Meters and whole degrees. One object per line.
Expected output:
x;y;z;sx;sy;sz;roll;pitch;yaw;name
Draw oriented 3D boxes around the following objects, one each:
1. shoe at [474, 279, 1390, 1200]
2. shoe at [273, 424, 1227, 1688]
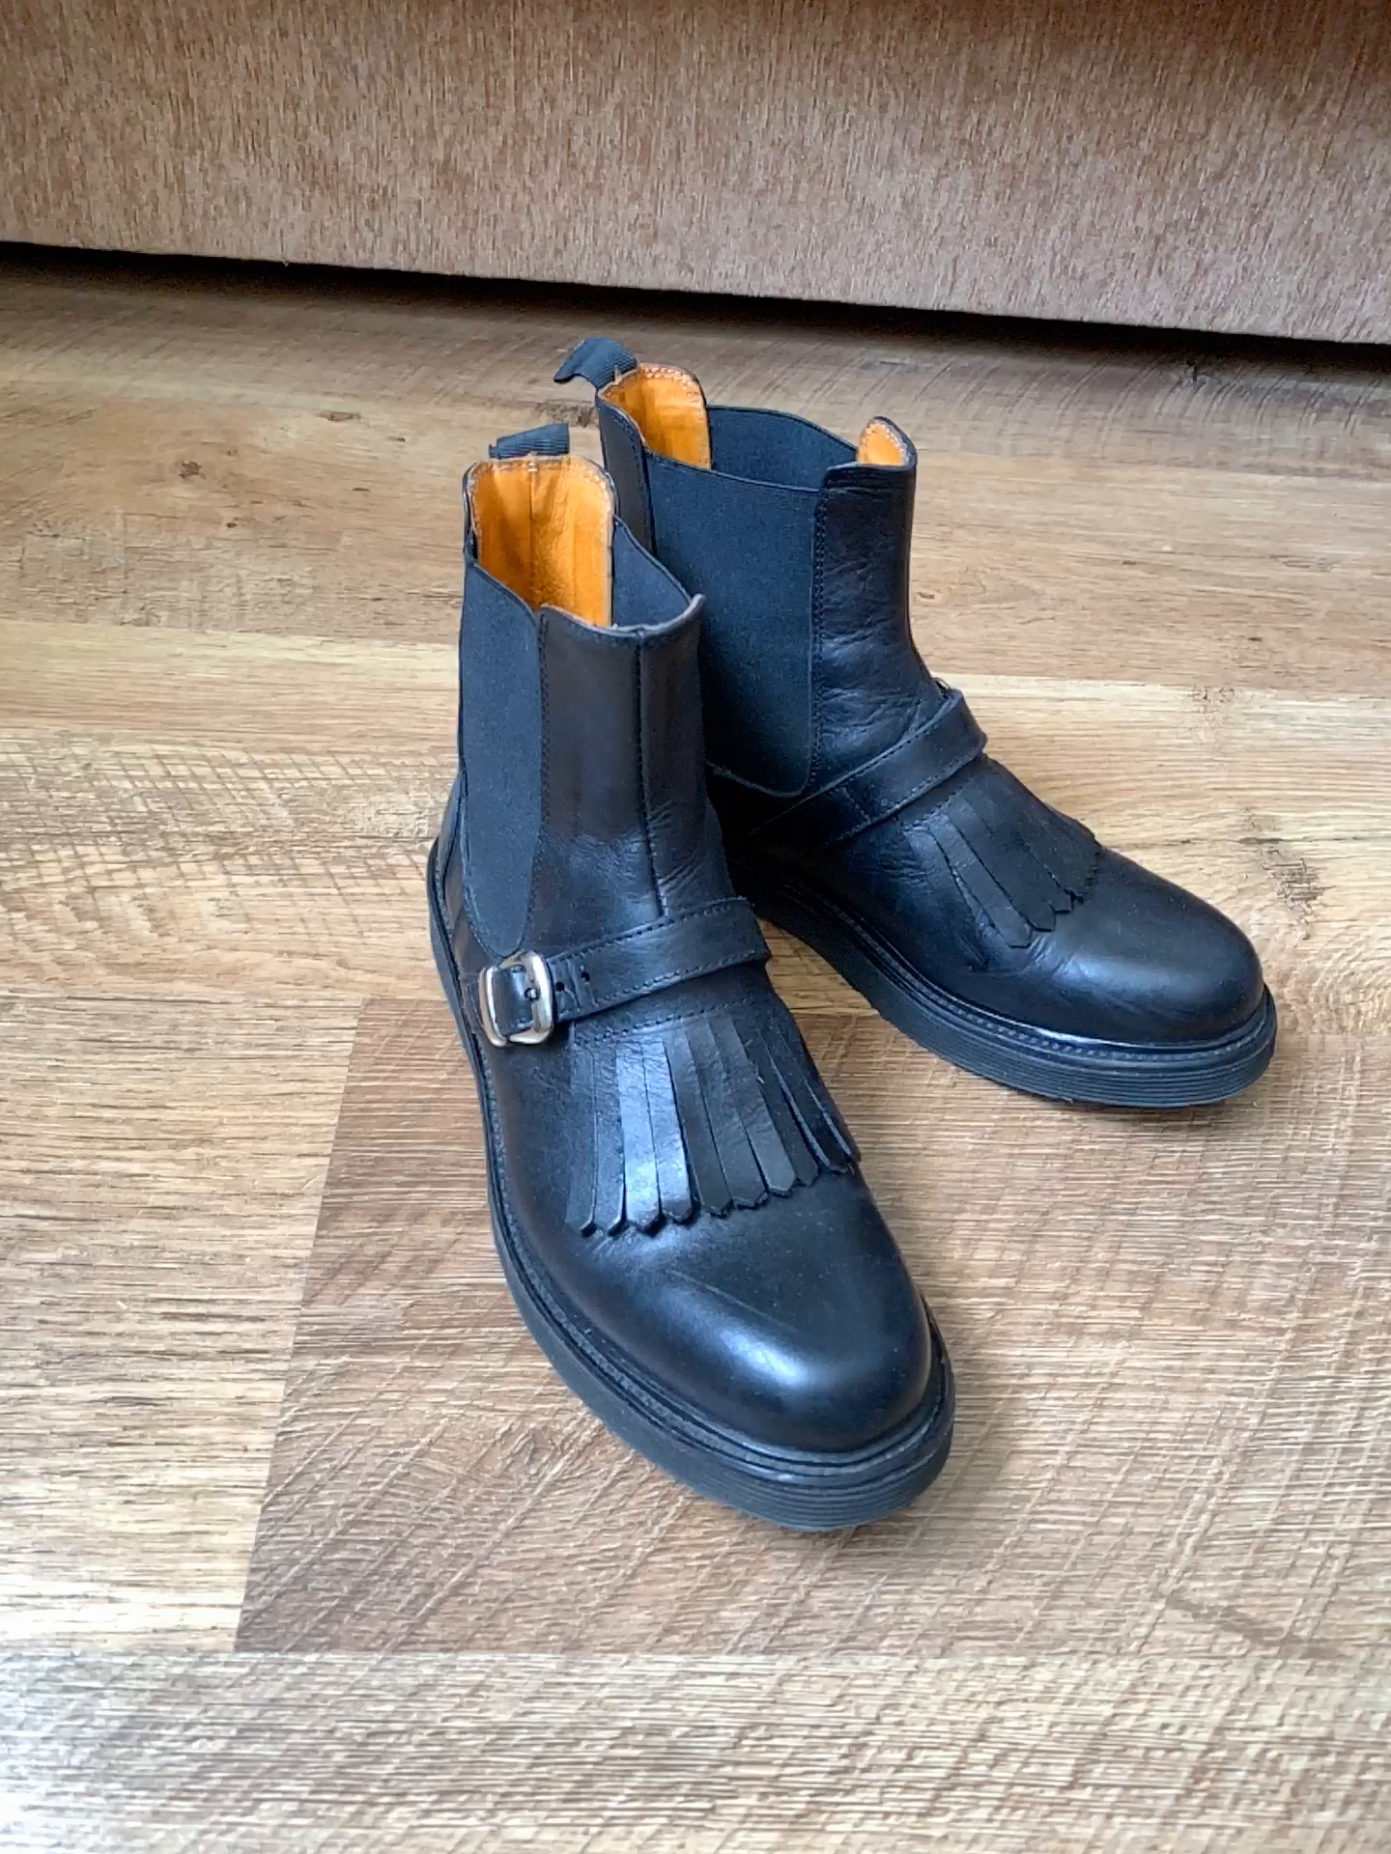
0.070;-0.063;0.420;0.260;0.149;0.100;29;50;20;shoe
-0.016;0.014;0.350;0.089;0.151;0.261;-16;50;-21;shoe
